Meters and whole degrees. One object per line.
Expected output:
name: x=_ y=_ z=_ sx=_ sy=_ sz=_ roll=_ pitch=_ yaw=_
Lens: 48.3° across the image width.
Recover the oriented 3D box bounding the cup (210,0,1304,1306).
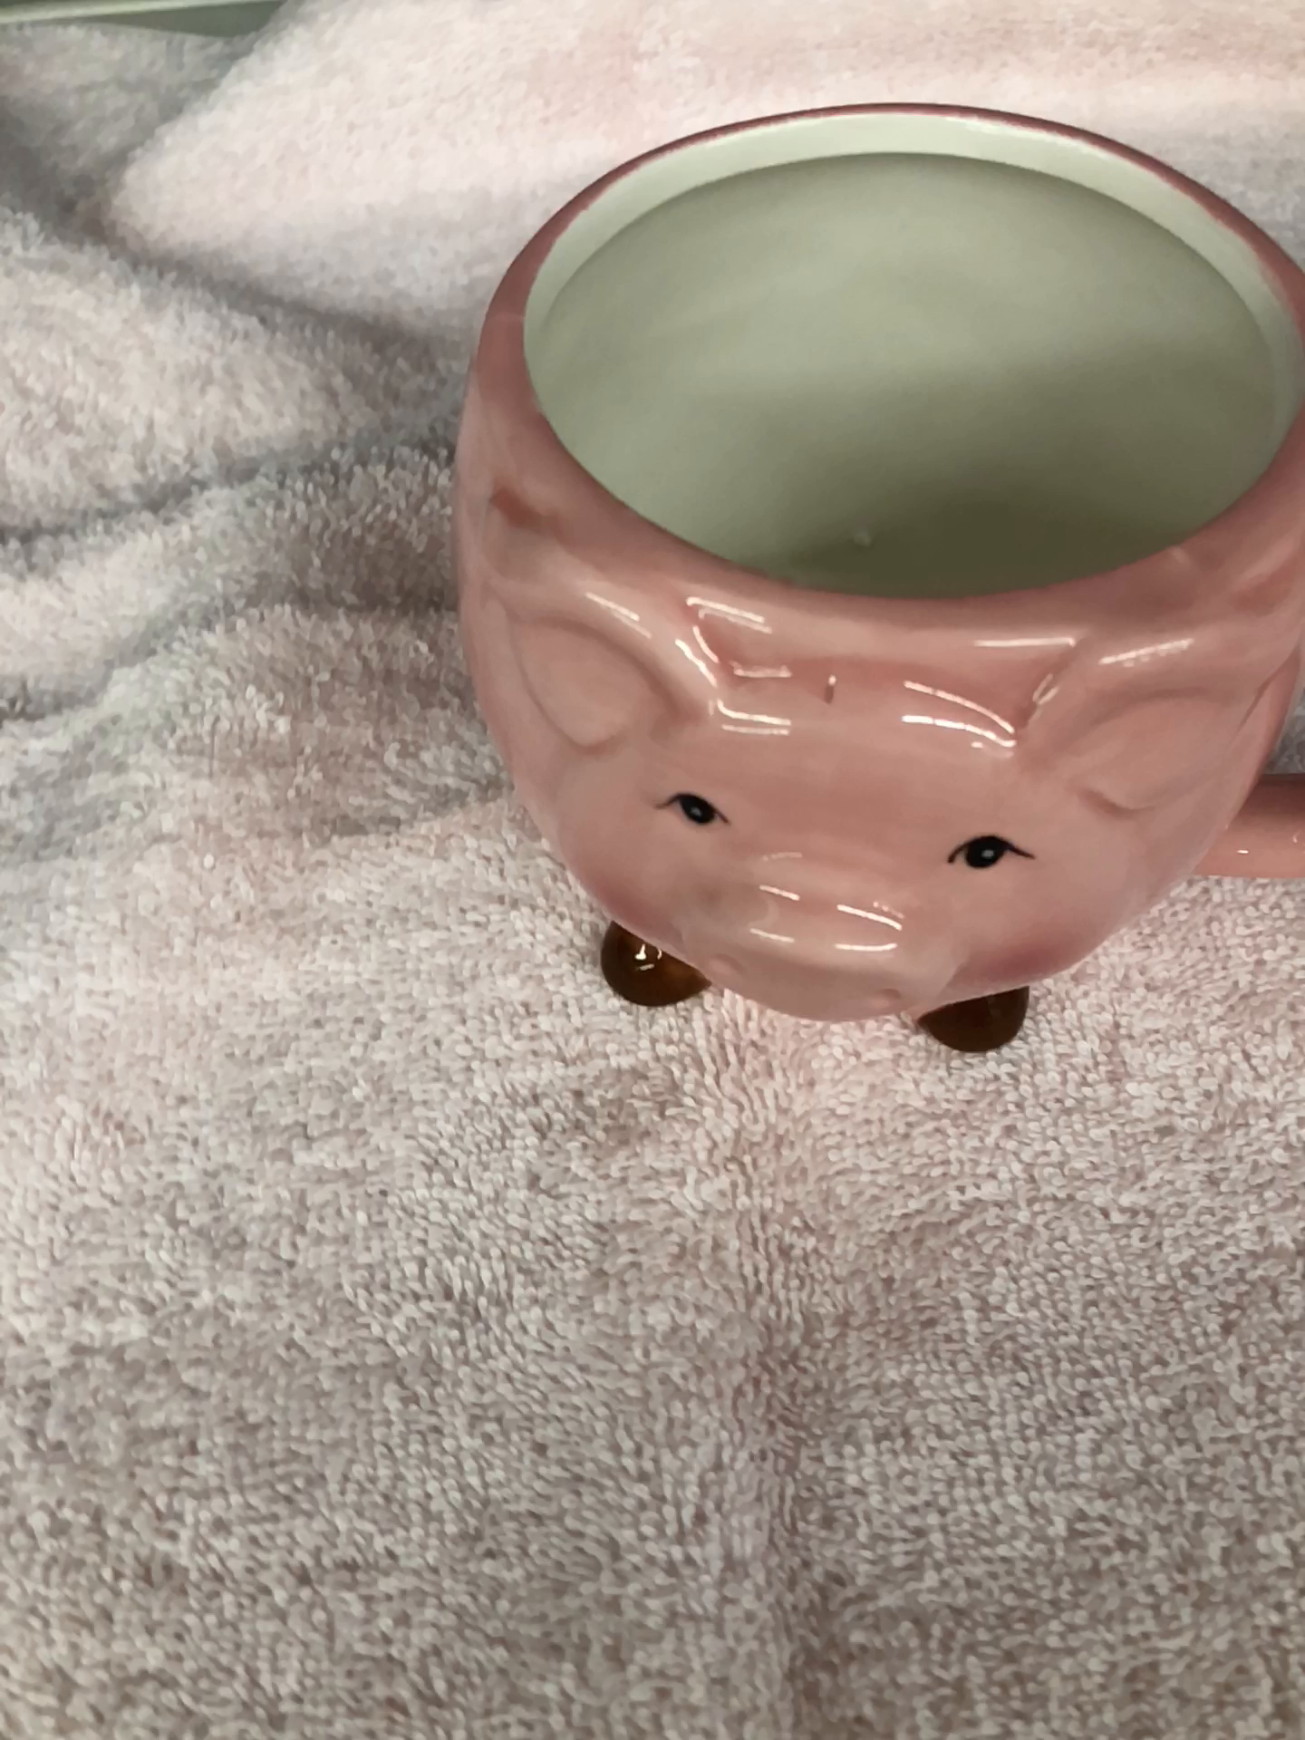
cup: x=0.049 y=-0.028 z=0.173 sx=0.150 sy=0.090 sz=0.100 roll=12 pitch=59 yaw=9
